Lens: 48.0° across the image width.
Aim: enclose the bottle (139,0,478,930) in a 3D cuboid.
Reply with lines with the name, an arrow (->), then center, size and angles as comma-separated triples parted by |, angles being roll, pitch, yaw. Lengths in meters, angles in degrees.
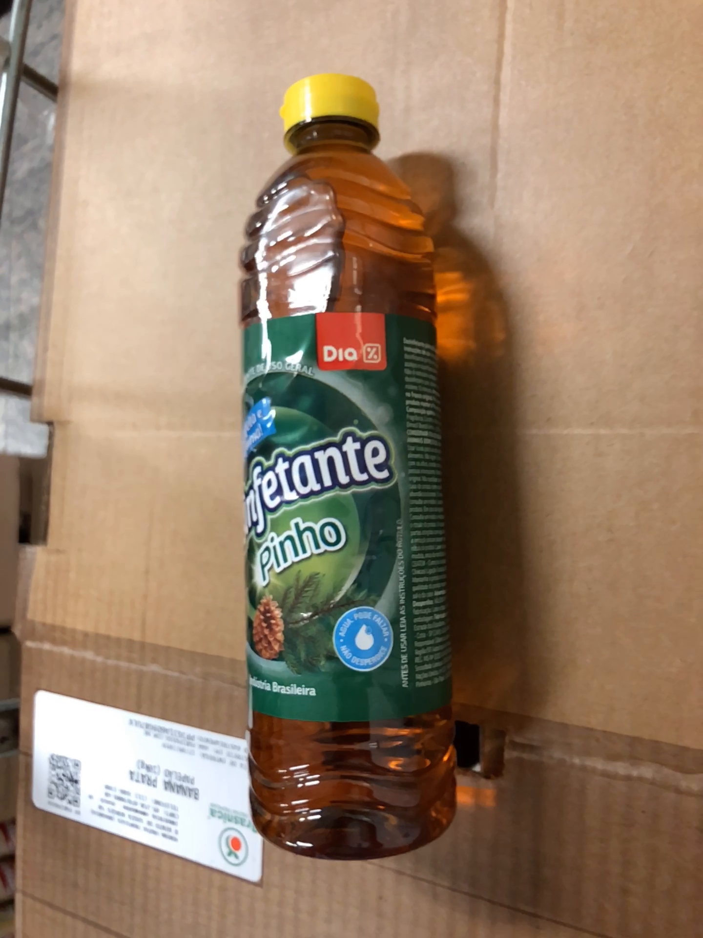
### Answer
bottle -> -0.011, -0.005, 0.228 | 0.060, 0.070, 0.220 | -7, 81, 43
